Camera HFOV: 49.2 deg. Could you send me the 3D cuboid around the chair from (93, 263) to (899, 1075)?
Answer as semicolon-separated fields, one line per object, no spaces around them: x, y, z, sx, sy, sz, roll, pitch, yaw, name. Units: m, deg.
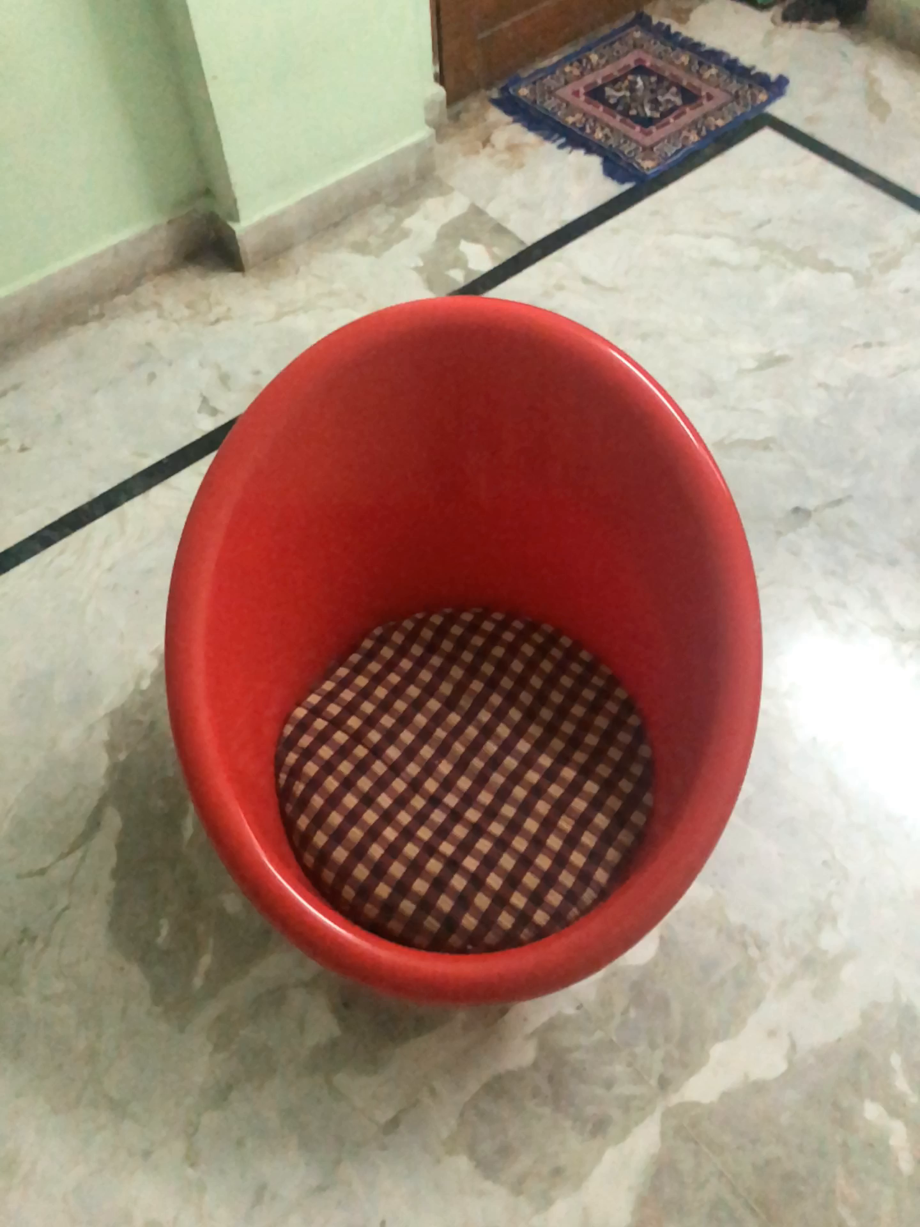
0.002;0.067;1.182;0.620;0.508;0.743;-6;57;-2;chair
